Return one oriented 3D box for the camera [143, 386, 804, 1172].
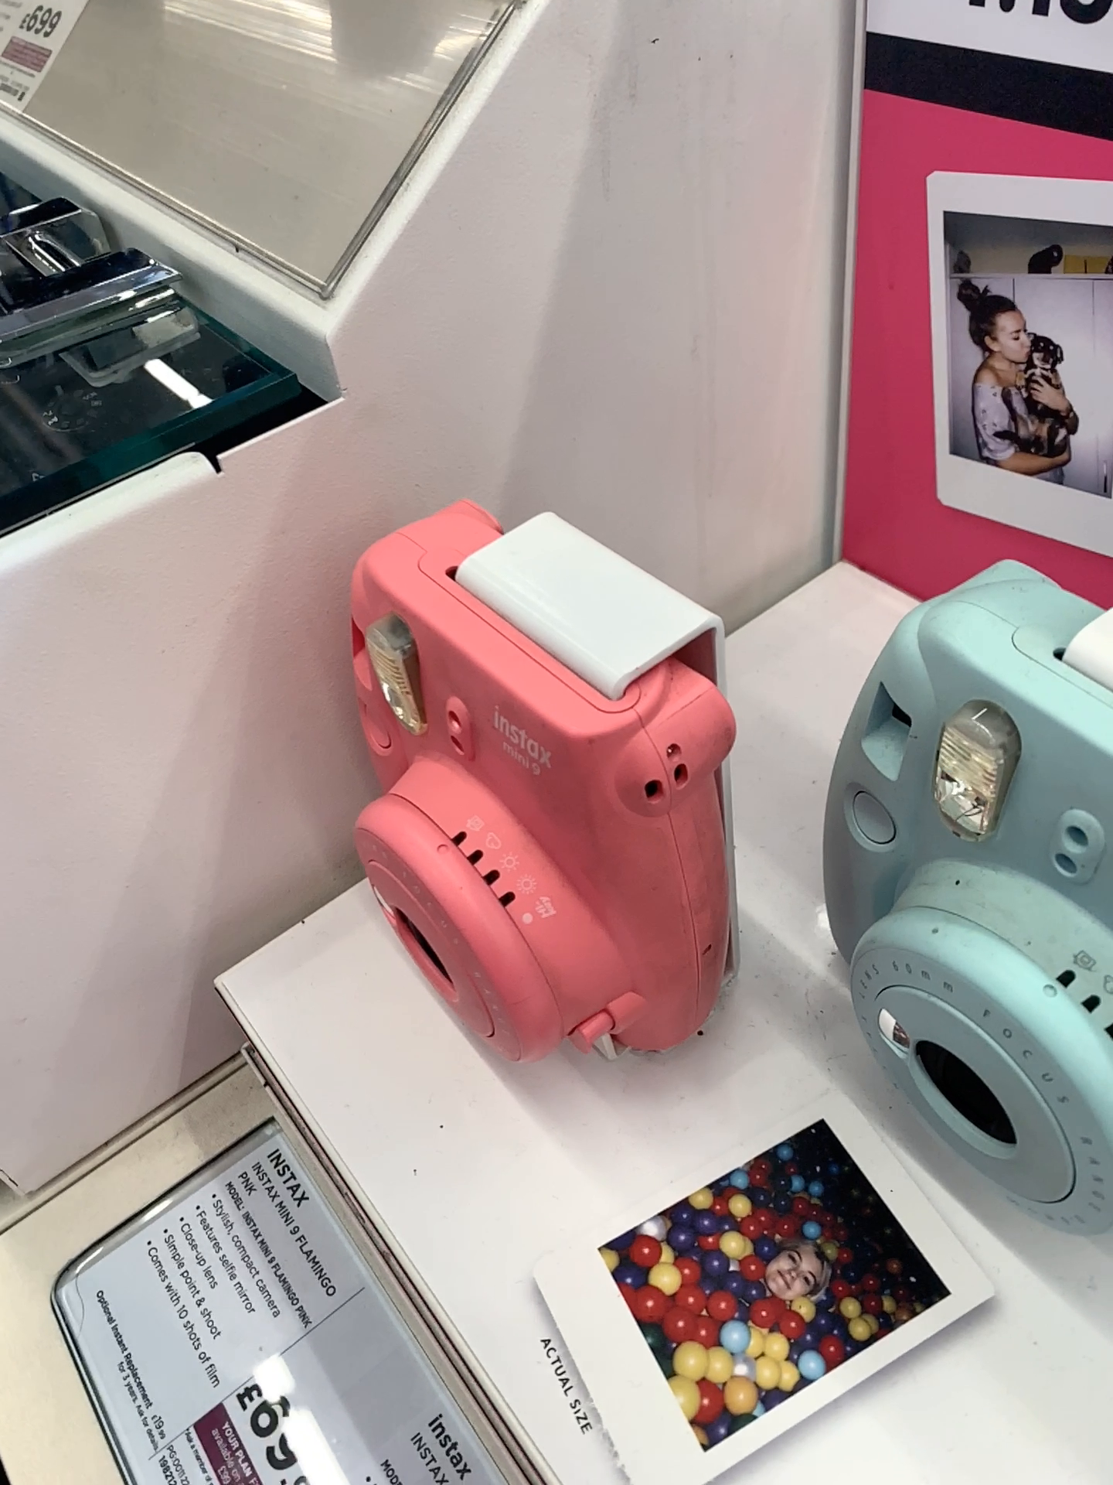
[{"bbox_3d":[-0.015,0.005,0.272,0.080,0.119,0.121,-33,49,-21],"label":"camera"}]
